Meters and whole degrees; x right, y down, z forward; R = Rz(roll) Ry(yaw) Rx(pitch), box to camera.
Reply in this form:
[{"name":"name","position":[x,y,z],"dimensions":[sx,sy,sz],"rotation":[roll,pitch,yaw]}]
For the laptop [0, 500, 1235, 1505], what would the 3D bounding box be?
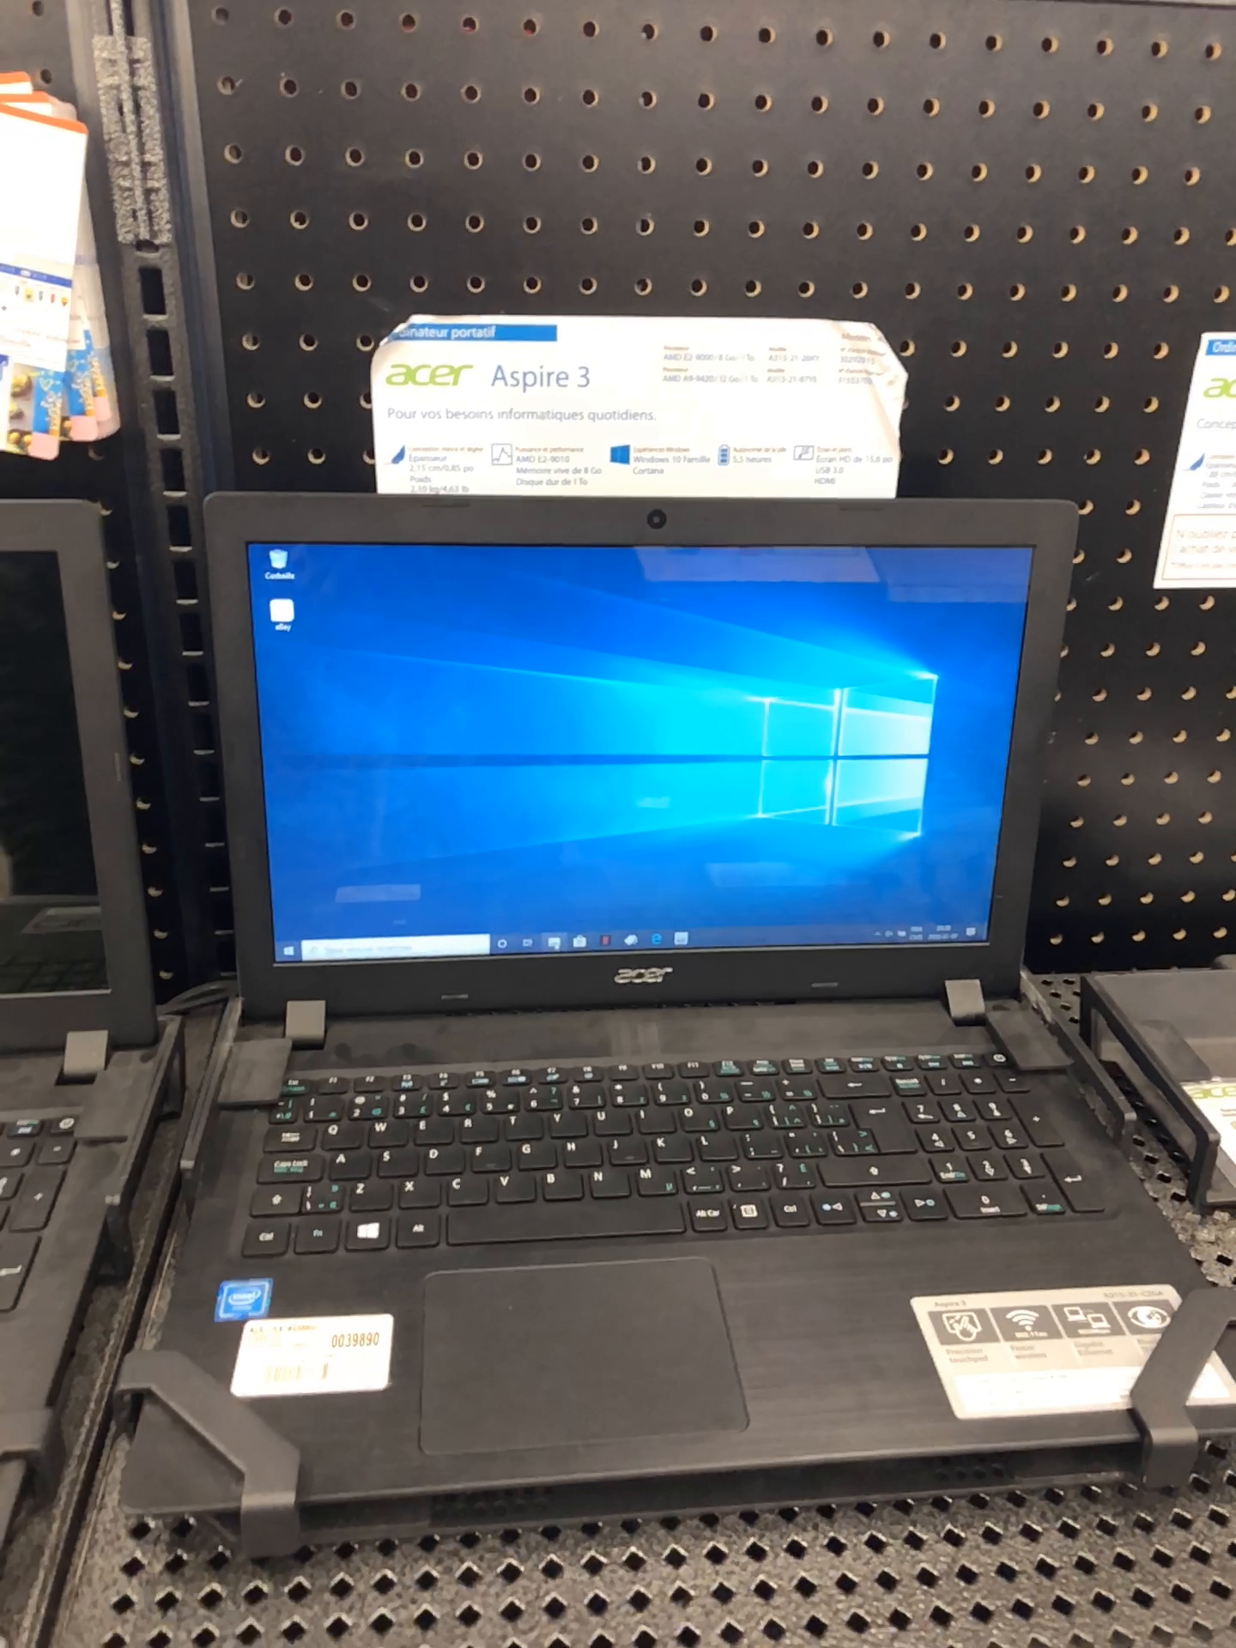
[{"name":"laptop","position":[0.025,0.032,0.525],"dimensions":[0.386,0.247,0.296],"rotation":[-1,25,-6]}]
